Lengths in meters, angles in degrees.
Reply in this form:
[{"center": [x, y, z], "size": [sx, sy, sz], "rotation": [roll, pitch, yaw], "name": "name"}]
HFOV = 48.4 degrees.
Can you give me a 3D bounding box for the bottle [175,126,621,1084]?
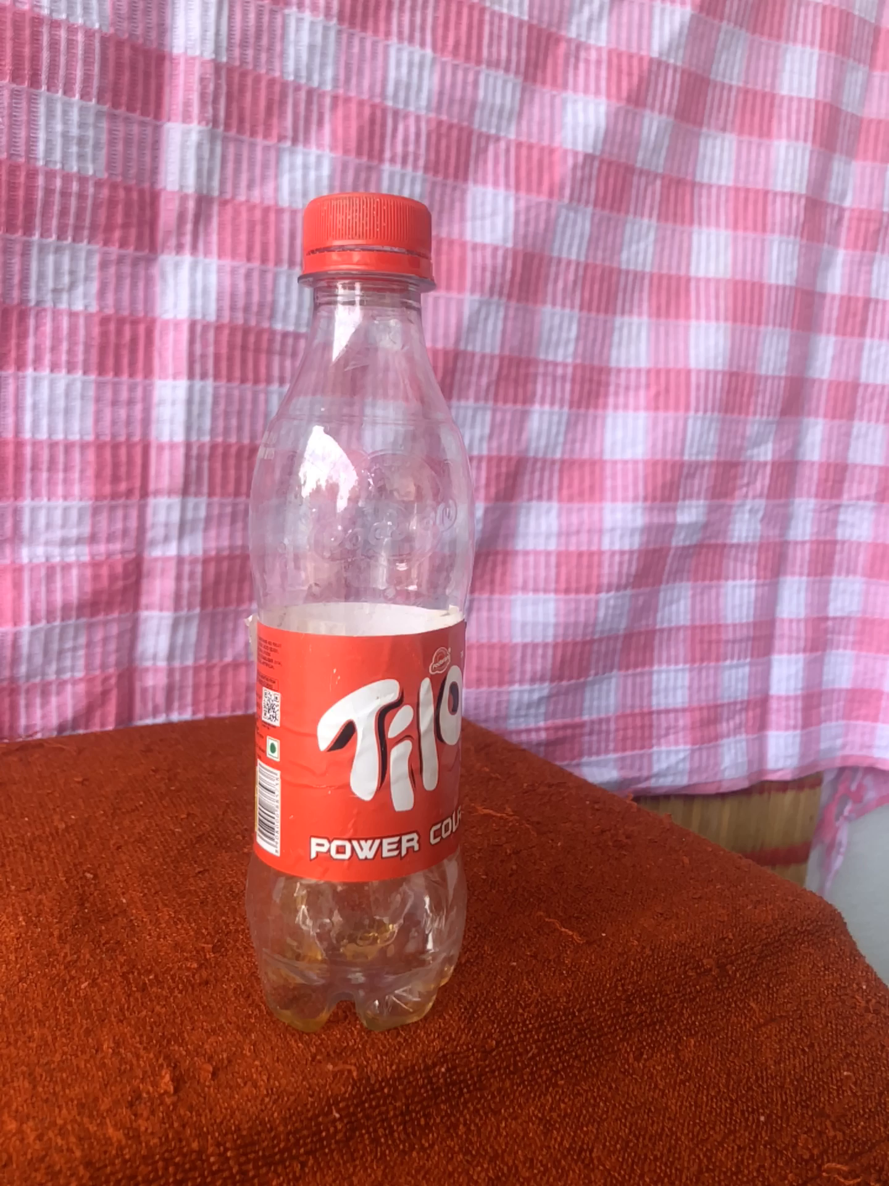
[{"center": [-0.016, 0.003, 0.232], "size": [0.060, 0.190, 0.060], "rotation": [7, 11, -1], "name": "bottle"}]
